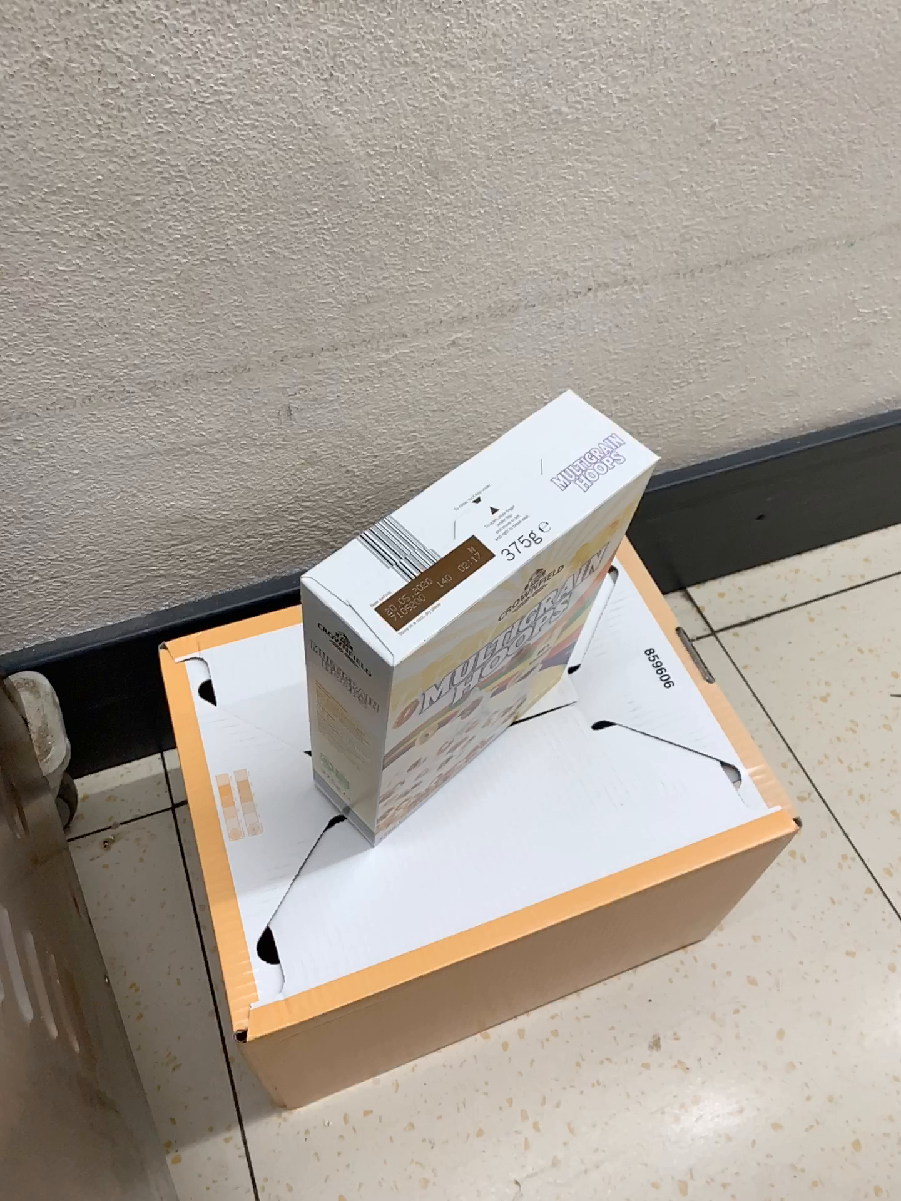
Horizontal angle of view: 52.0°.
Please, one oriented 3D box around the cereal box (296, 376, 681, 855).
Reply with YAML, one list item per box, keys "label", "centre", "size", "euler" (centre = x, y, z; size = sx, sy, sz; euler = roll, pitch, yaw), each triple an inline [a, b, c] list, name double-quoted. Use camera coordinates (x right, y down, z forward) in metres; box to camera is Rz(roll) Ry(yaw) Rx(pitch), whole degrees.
- label: "cereal box"
  centre: [0.012, 0.021, 0.553]
  size: [0.201, 0.248, 0.070]
  euler: [-38, 69, -27]
